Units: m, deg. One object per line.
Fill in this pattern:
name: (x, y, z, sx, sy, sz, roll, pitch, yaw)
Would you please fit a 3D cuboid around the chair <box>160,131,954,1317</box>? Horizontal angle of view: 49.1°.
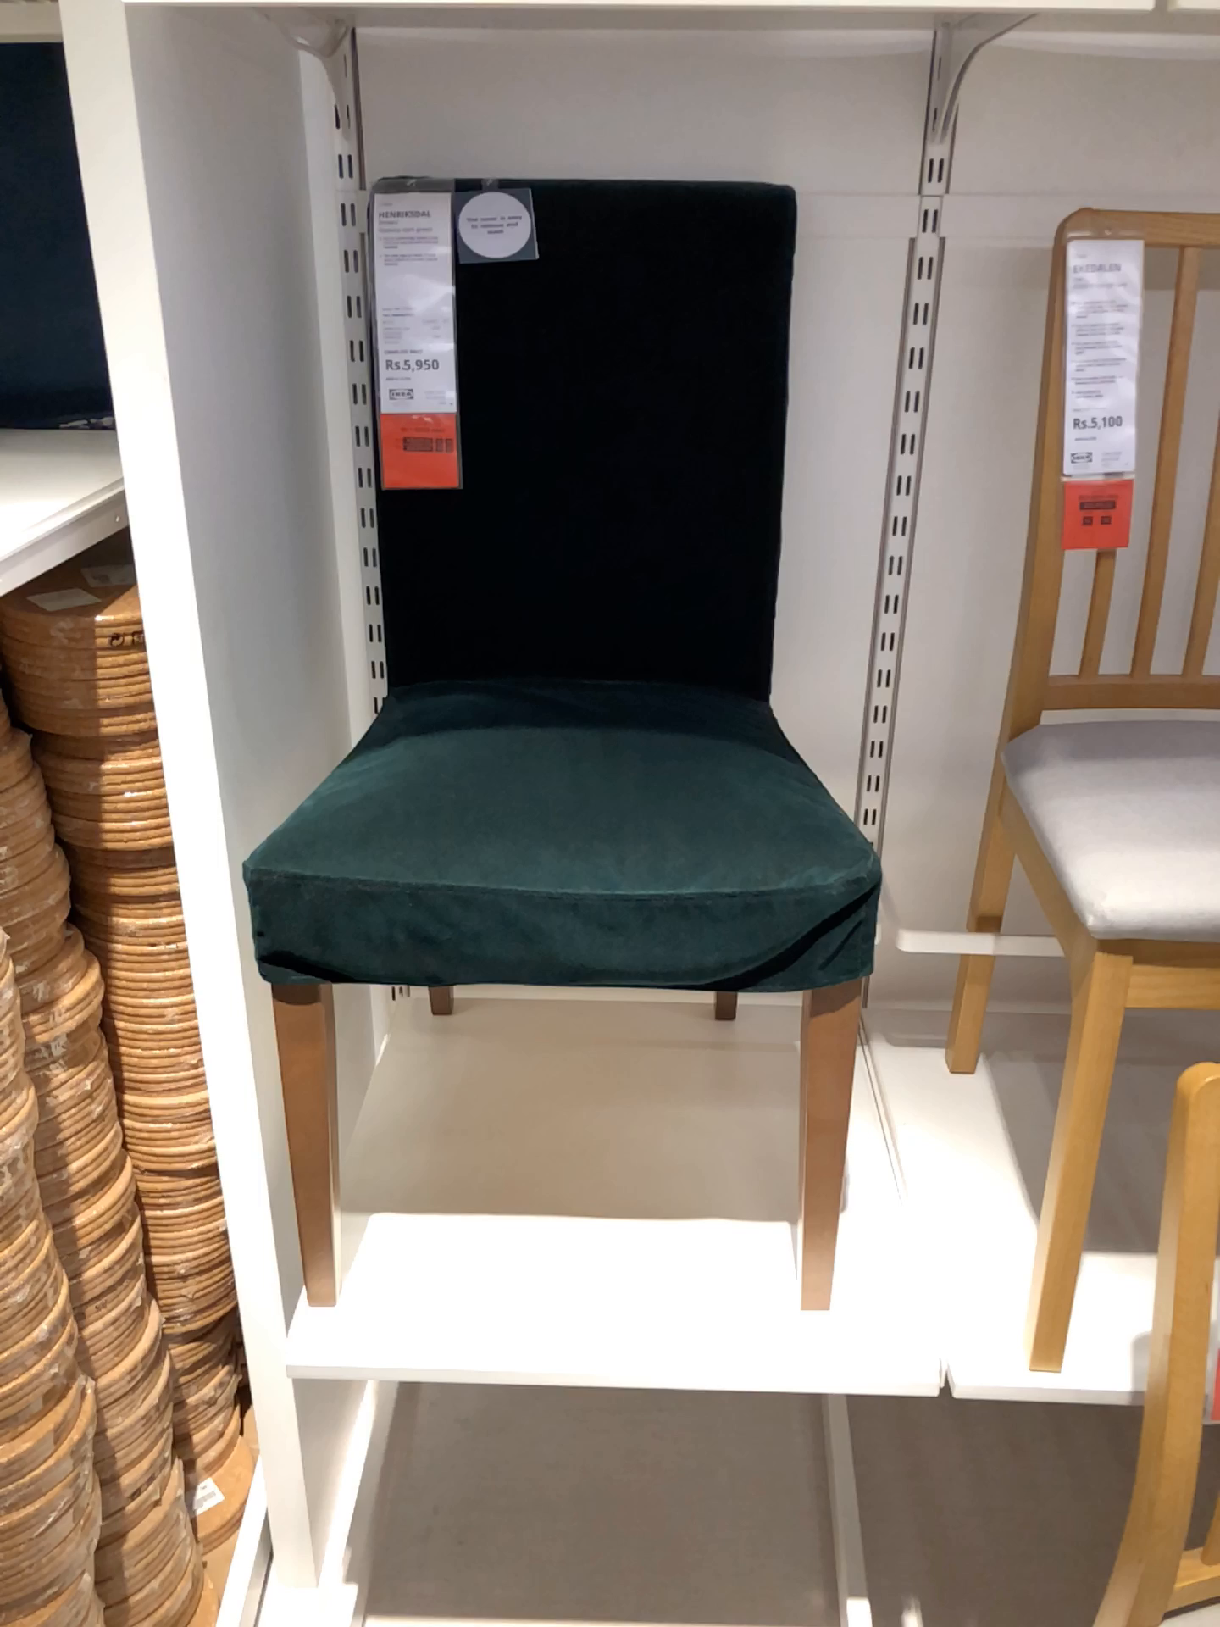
chair: (-0.036, -0.089, 1.209, 0.470, 0.914, 0.513, 0, 24, 0)
